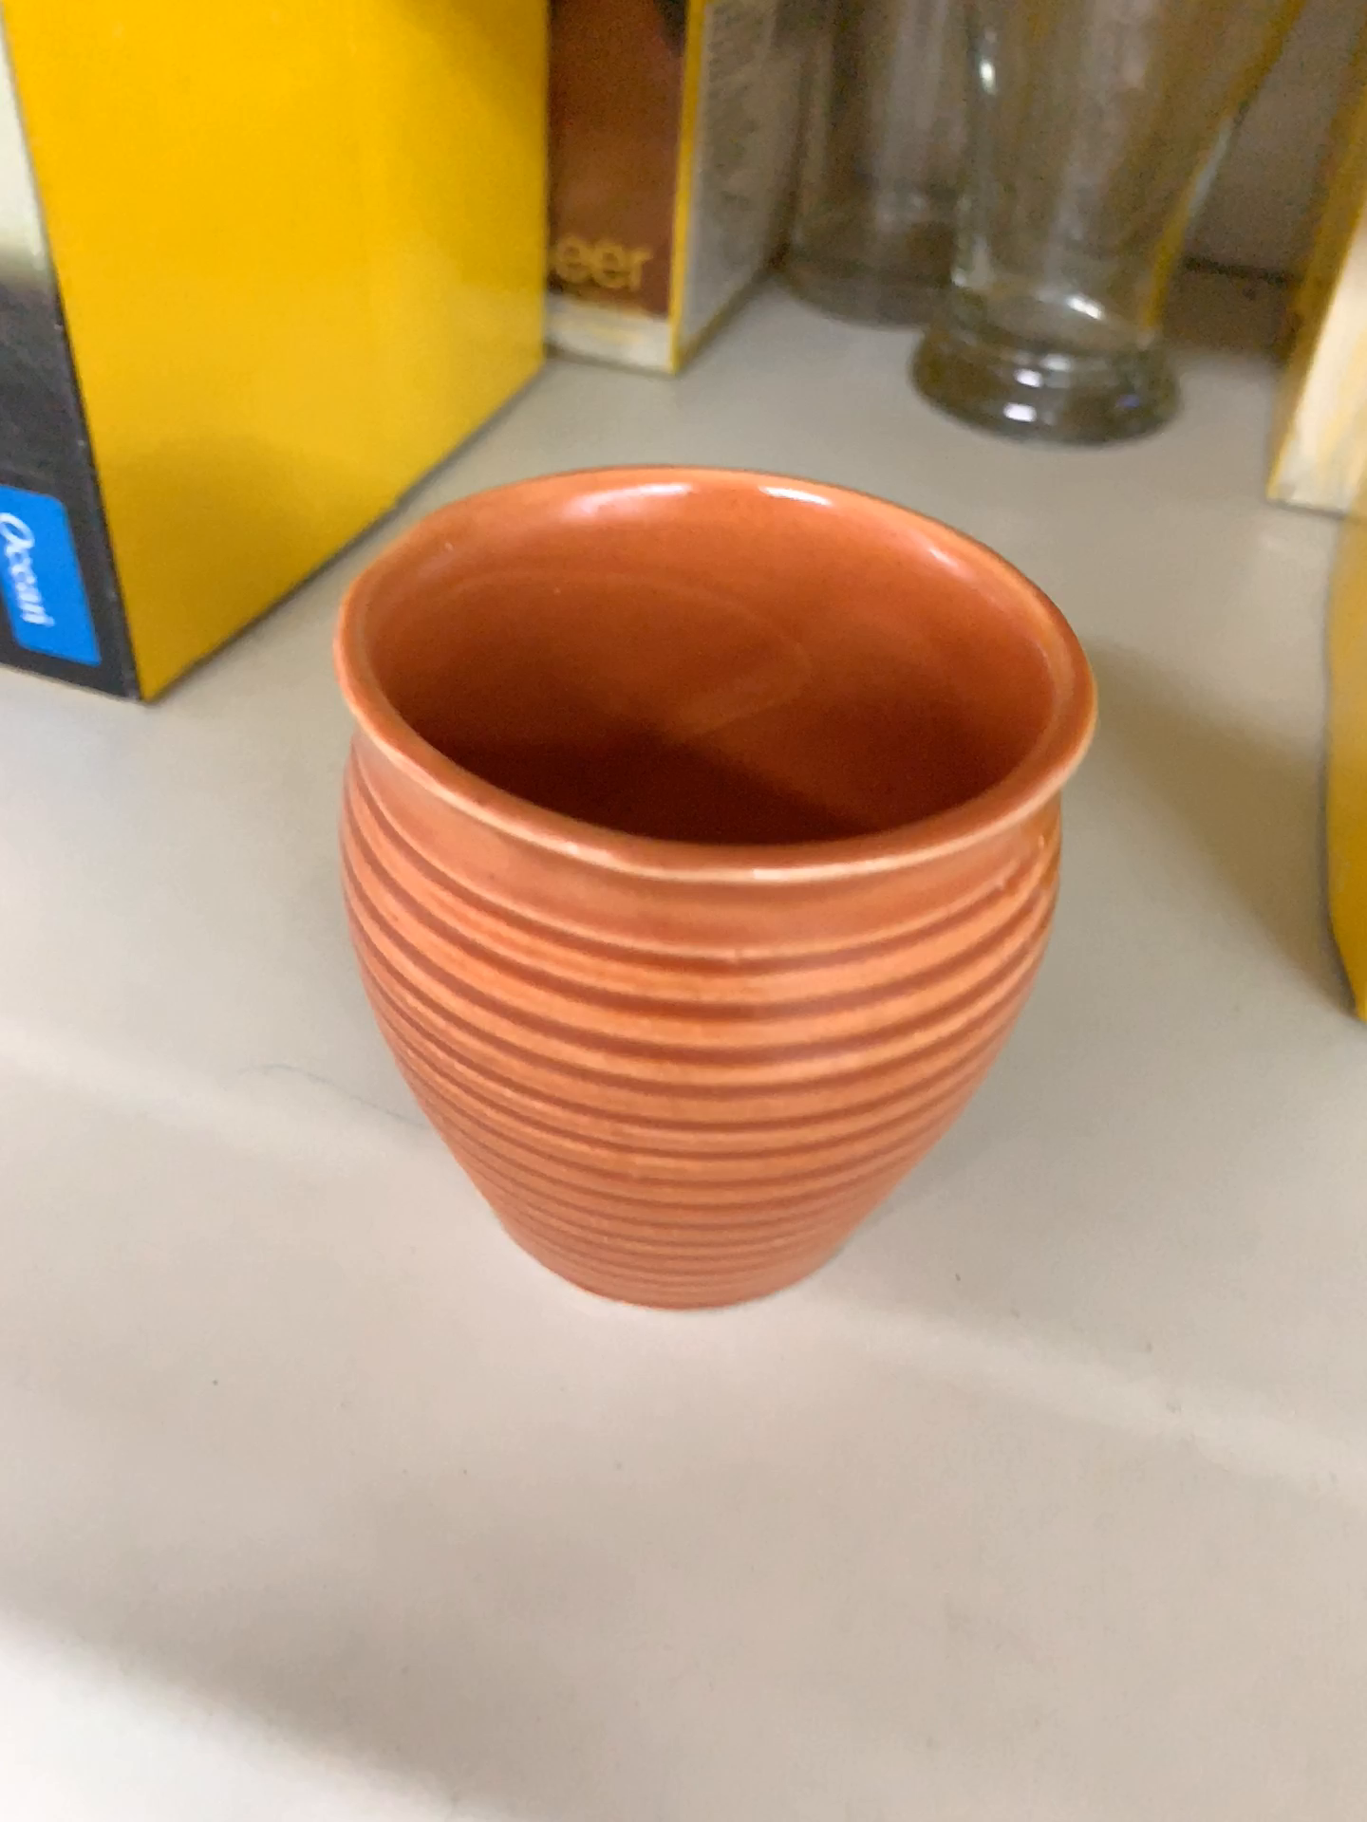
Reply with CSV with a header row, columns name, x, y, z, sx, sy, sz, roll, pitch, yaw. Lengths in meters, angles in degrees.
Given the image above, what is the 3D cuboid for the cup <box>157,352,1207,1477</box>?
name,x,y,z,sx,sy,sz,roll,pitch,yaw
cup,-0.004,-0.003,0.138,0.060,0.069,0.060,2,42,-2
